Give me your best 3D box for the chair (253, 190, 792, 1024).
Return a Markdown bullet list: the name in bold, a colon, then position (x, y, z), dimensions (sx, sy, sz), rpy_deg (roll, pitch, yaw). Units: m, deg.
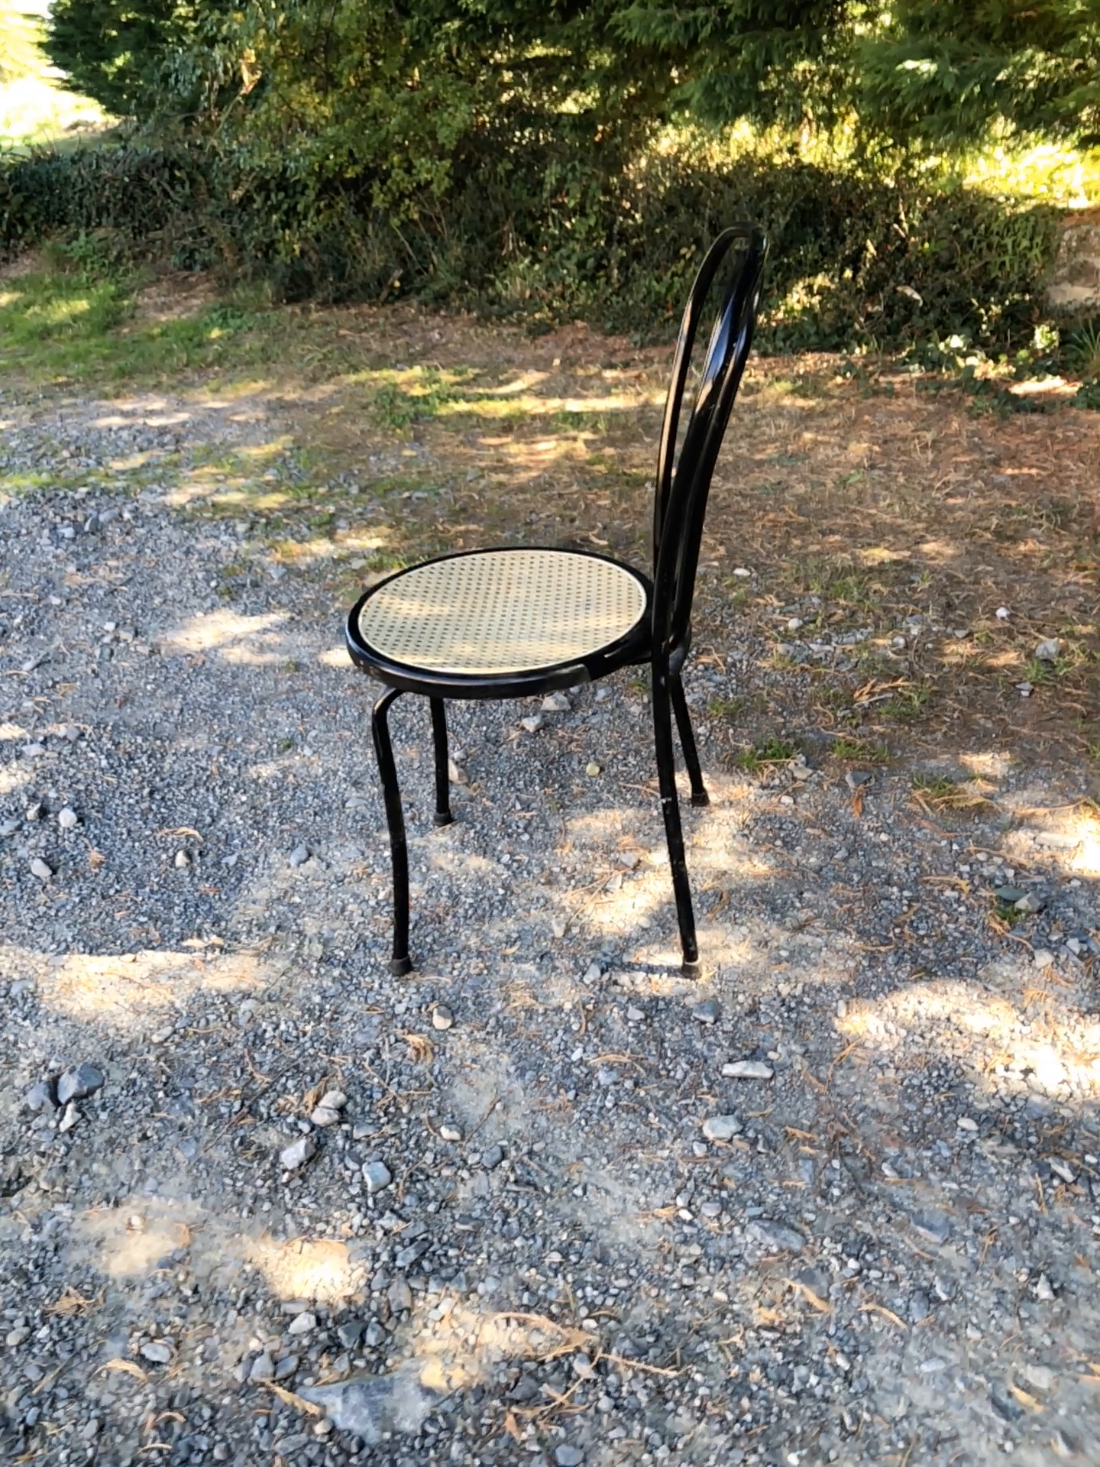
- **chair**: position (0.010, -0.142, 1.439), dimensions (0.470, 0.875, 0.433), rpy_deg (0, 29, 6)
